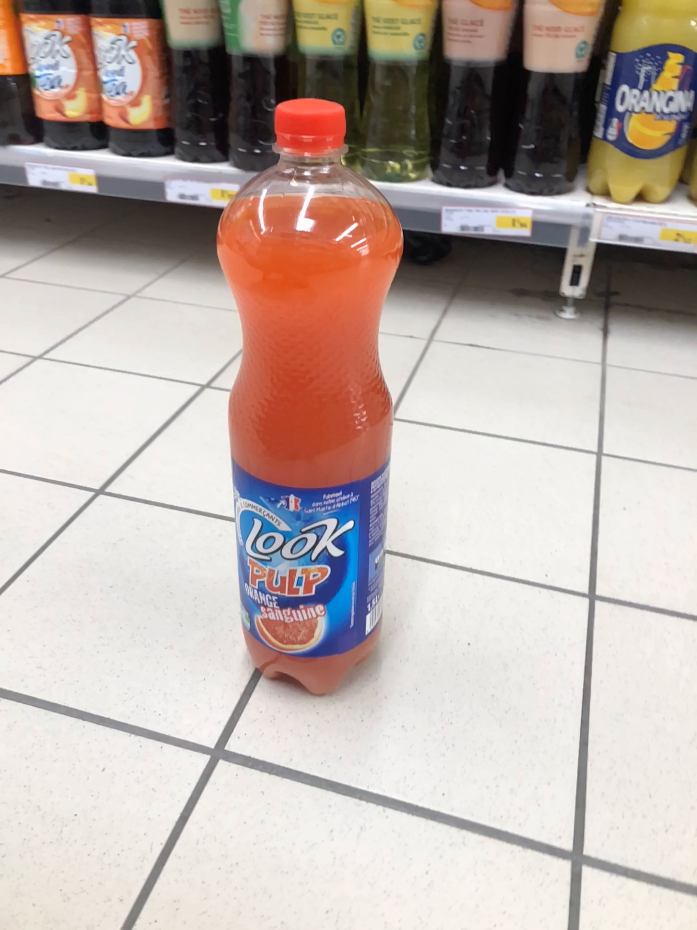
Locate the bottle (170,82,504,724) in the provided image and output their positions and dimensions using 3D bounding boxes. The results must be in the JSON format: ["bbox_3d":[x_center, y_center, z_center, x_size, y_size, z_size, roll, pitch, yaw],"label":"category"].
[{"bbox_3d":[-0.004,-0.022,0.406,0.110,0.308,0.101,1,32,-1],"label":"bottle"}]
